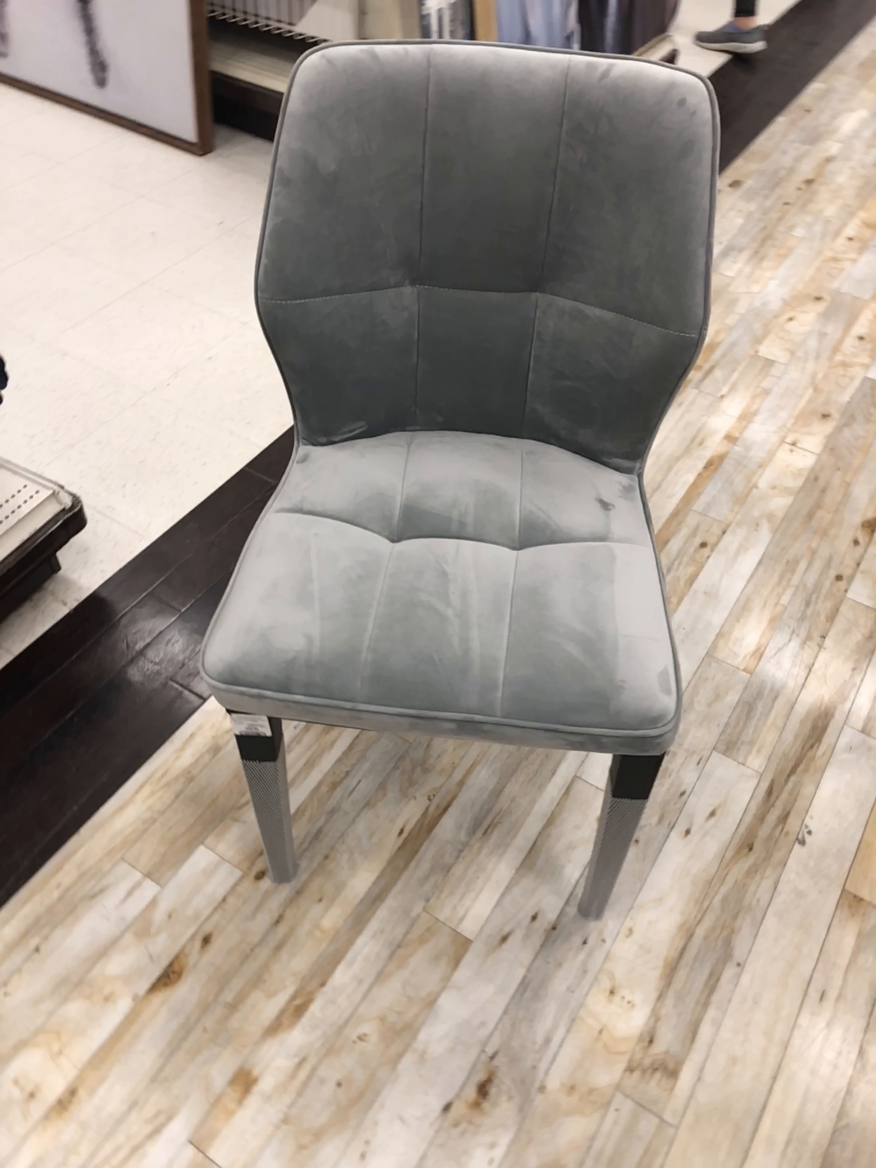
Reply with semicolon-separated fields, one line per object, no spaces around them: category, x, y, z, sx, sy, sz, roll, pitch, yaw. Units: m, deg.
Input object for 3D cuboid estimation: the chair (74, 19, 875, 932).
chair;0.045;-0.078;1.121;0.530;0.837;0.572;6;48;3
